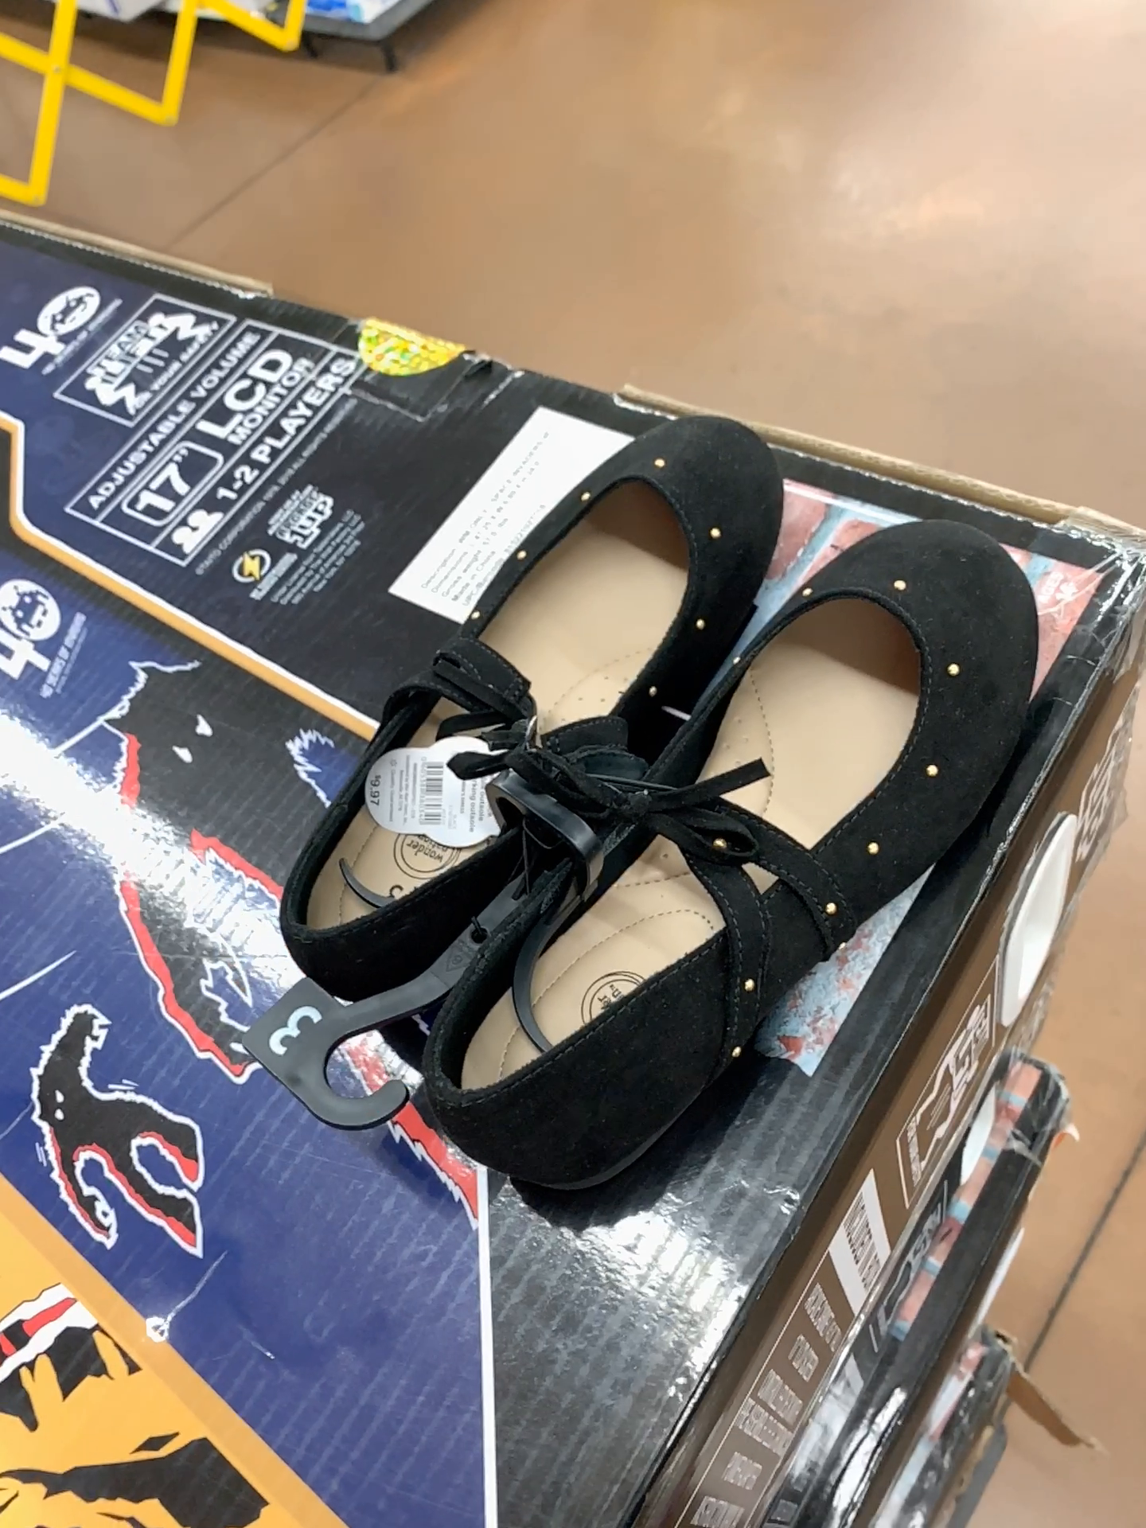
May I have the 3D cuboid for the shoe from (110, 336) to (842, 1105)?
[{"bbox_3d":[-0.017,-0.026,0.392,0.090,0.070,0.250,28,66,29],"label":"shoe"}]

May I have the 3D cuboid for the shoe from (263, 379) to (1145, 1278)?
[{"bbox_3d":[0.047,0.006,0.325,0.240,0.070,0.090,-44,57,-16],"label":"shoe"}]
